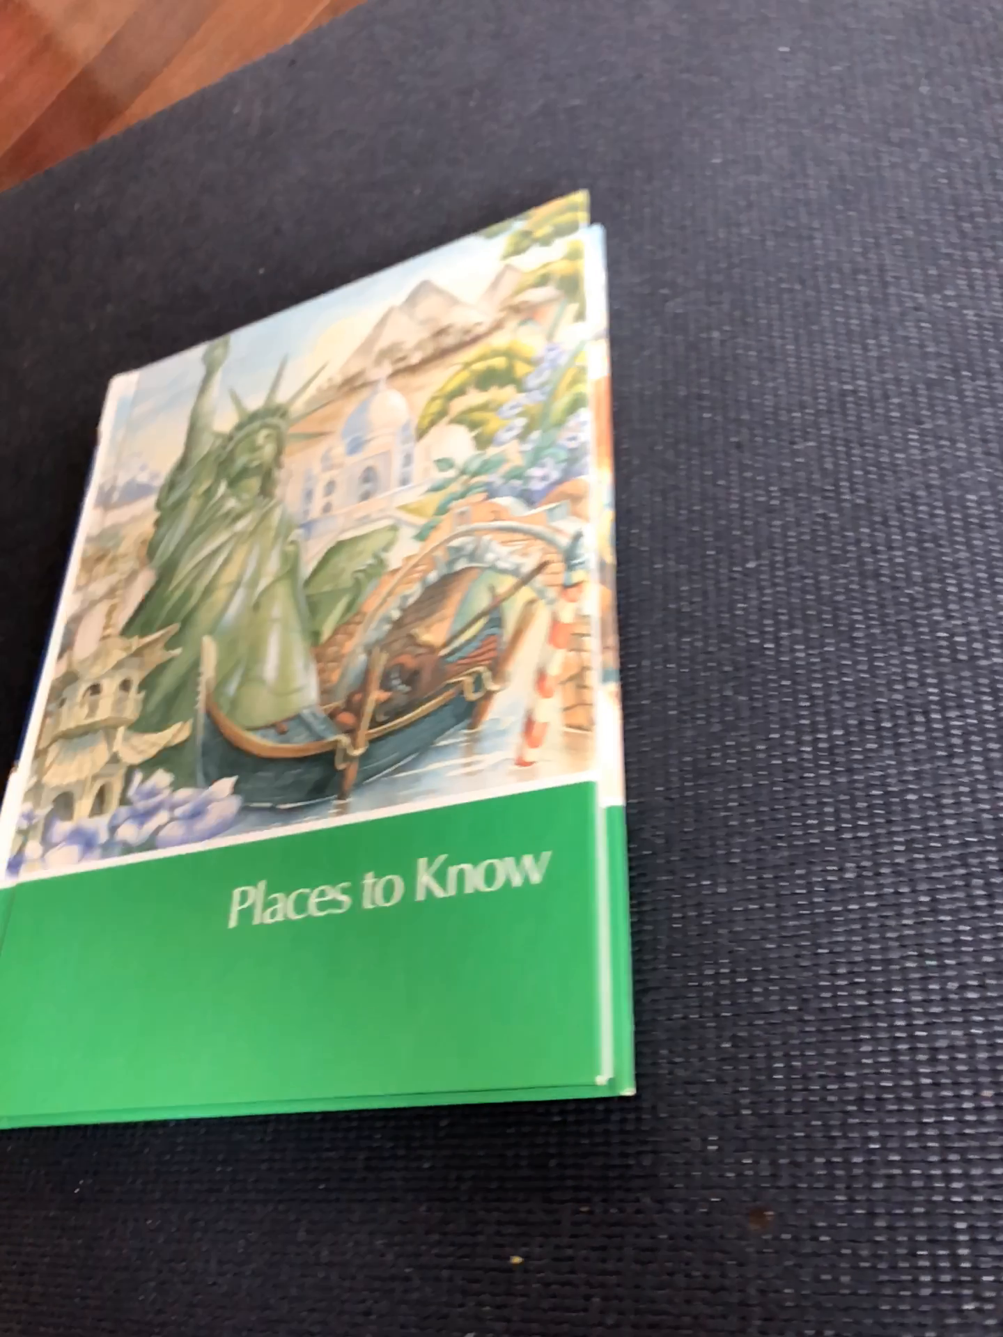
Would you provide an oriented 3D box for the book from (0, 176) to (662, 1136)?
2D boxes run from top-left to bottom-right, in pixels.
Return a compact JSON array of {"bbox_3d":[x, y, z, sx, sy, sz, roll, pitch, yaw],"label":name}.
[{"bbox_3d":[-0.058,-0.010,0.312,0.191,0.030,0.250,-12,57,22],"label":"book"}]
